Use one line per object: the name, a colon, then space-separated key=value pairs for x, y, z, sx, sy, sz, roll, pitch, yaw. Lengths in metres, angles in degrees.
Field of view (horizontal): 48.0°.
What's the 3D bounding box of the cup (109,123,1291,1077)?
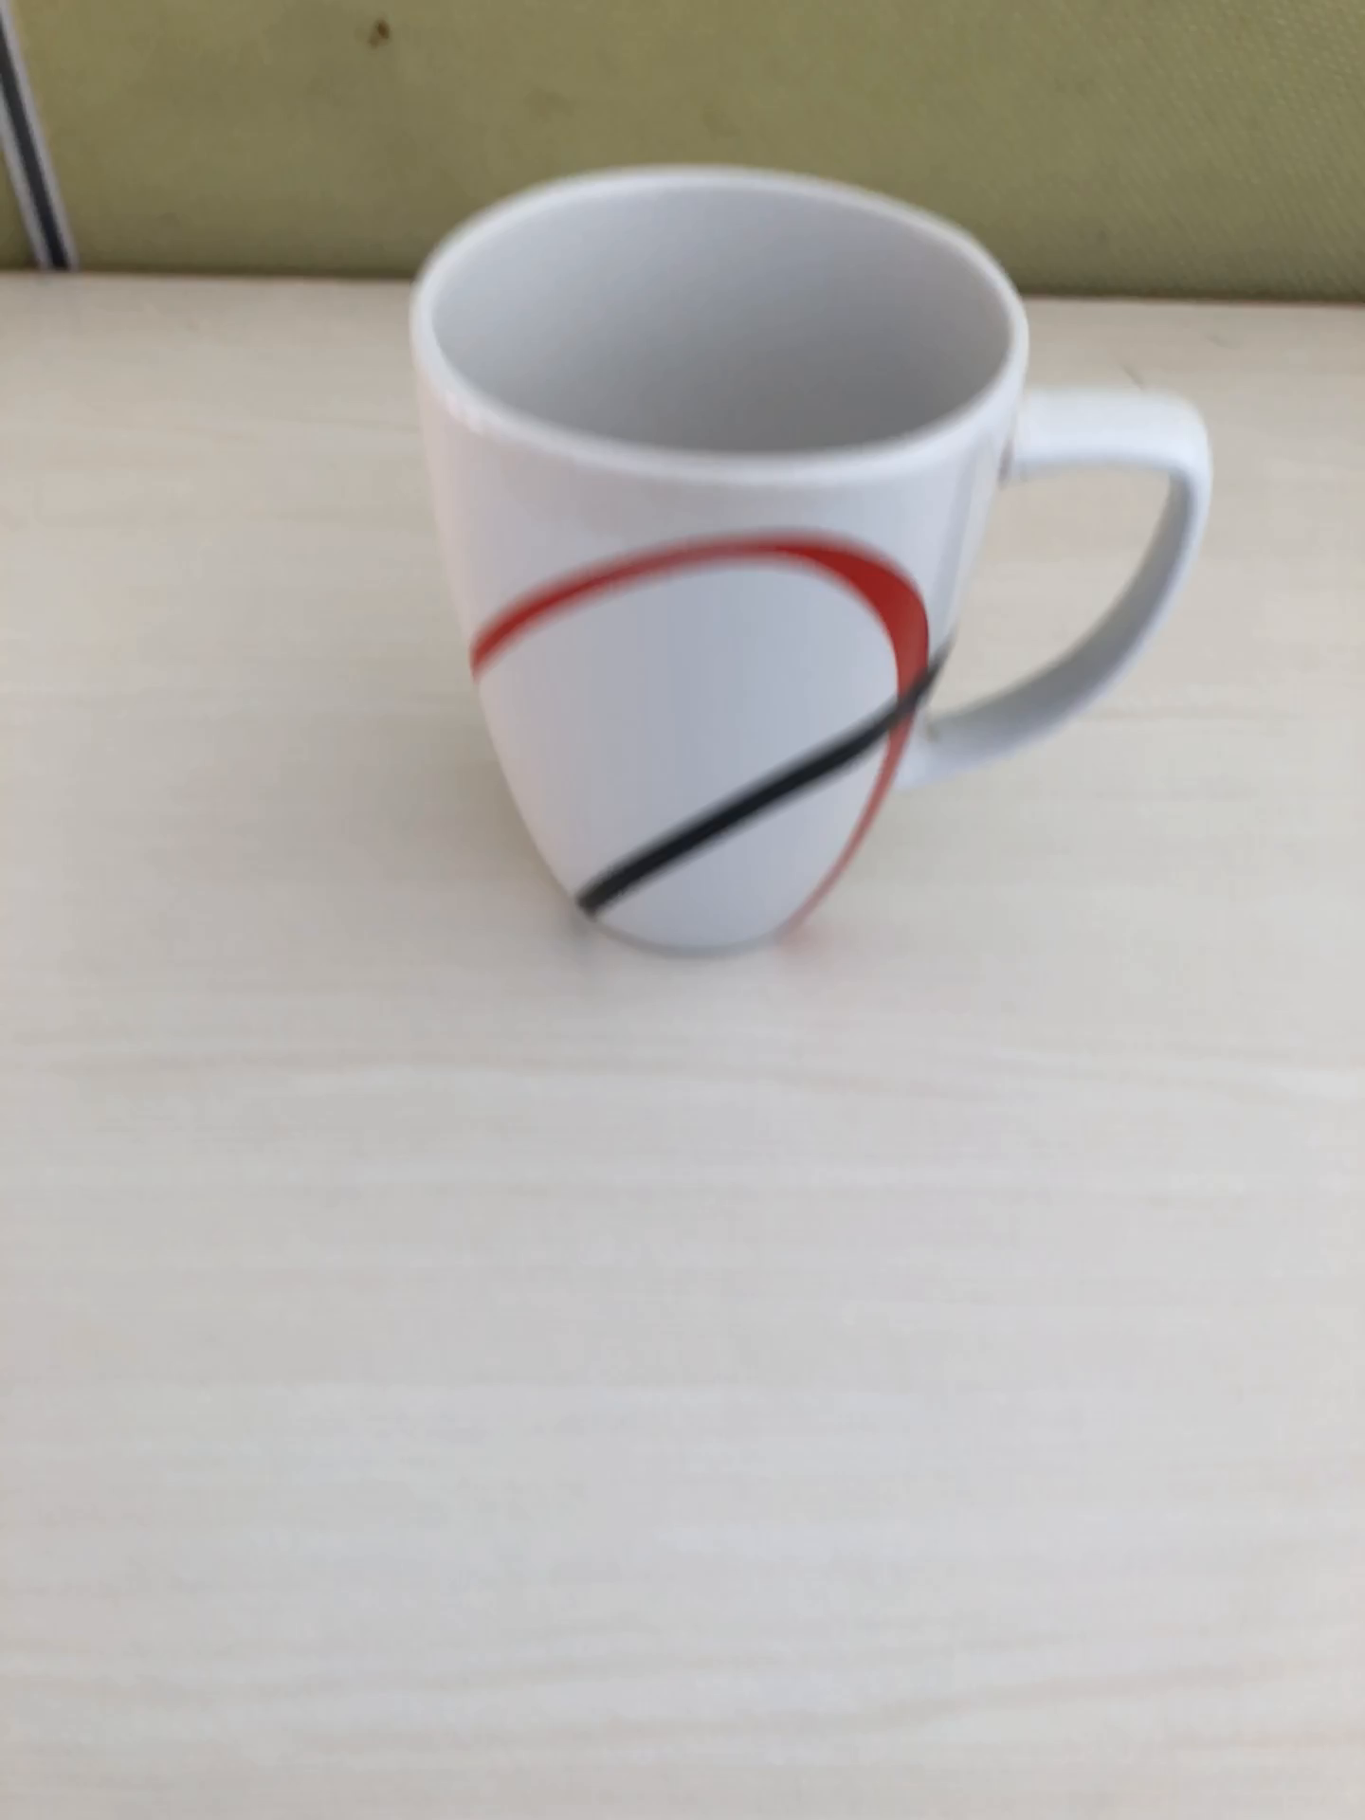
cup: x=0.006 y=-0.050 z=0.245 sx=0.140 sy=0.099 sz=0.091 roll=9 pitch=47 yaw=6
